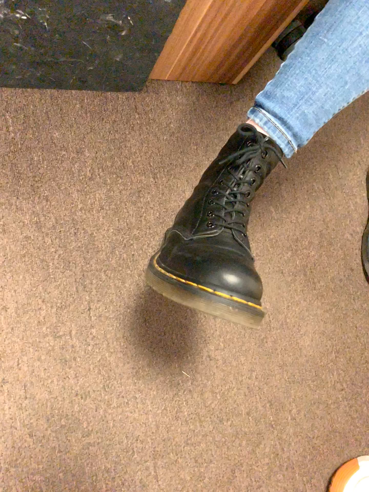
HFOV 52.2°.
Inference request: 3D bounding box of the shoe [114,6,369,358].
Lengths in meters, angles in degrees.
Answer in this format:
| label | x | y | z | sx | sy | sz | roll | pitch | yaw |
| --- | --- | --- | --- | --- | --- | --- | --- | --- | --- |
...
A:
| label | x | y | z | sx | sy | sz | roll | pitch | yaw |
| --- | --- | --- | --- | --- | --- | --- | --- | --- | --- |
| shoe | 0.030 | -0.076 | 0.456 | 0.120 | 0.370 | 0.230 | 26 | 96 | -18 |
